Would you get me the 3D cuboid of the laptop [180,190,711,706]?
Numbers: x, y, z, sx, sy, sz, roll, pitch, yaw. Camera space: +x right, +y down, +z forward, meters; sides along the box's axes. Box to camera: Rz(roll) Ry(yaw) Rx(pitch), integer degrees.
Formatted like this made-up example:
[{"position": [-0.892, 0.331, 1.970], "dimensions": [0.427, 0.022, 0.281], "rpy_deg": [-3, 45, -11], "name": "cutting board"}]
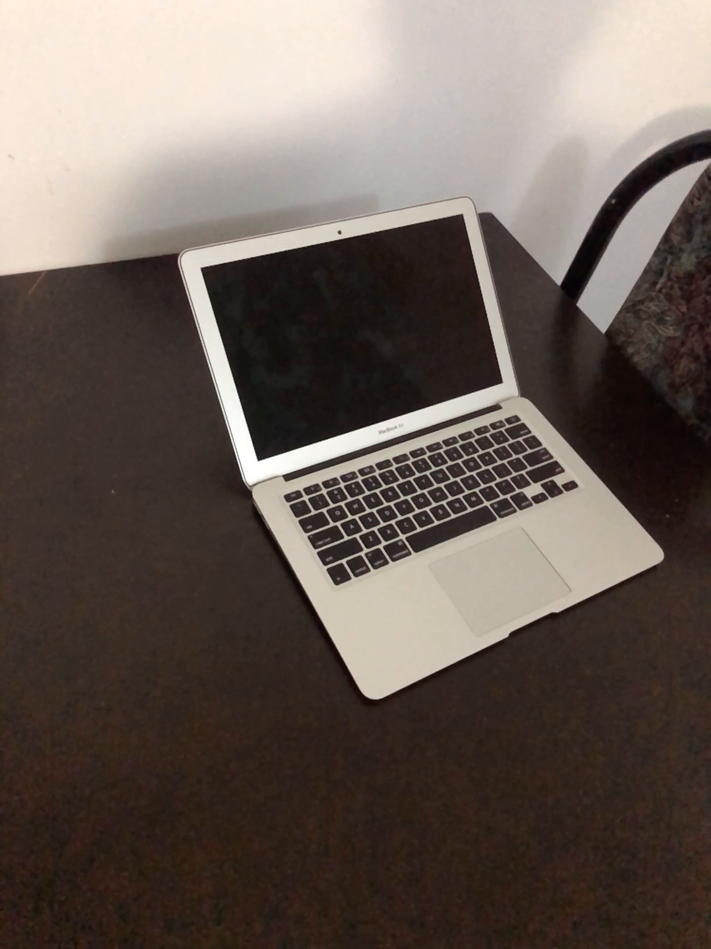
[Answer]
[{"position": [0.064, -0.057, 0.658], "dimensions": [0.303, 0.136, 0.362], "rpy_deg": [-19, 56, -24], "name": "laptop"}]
